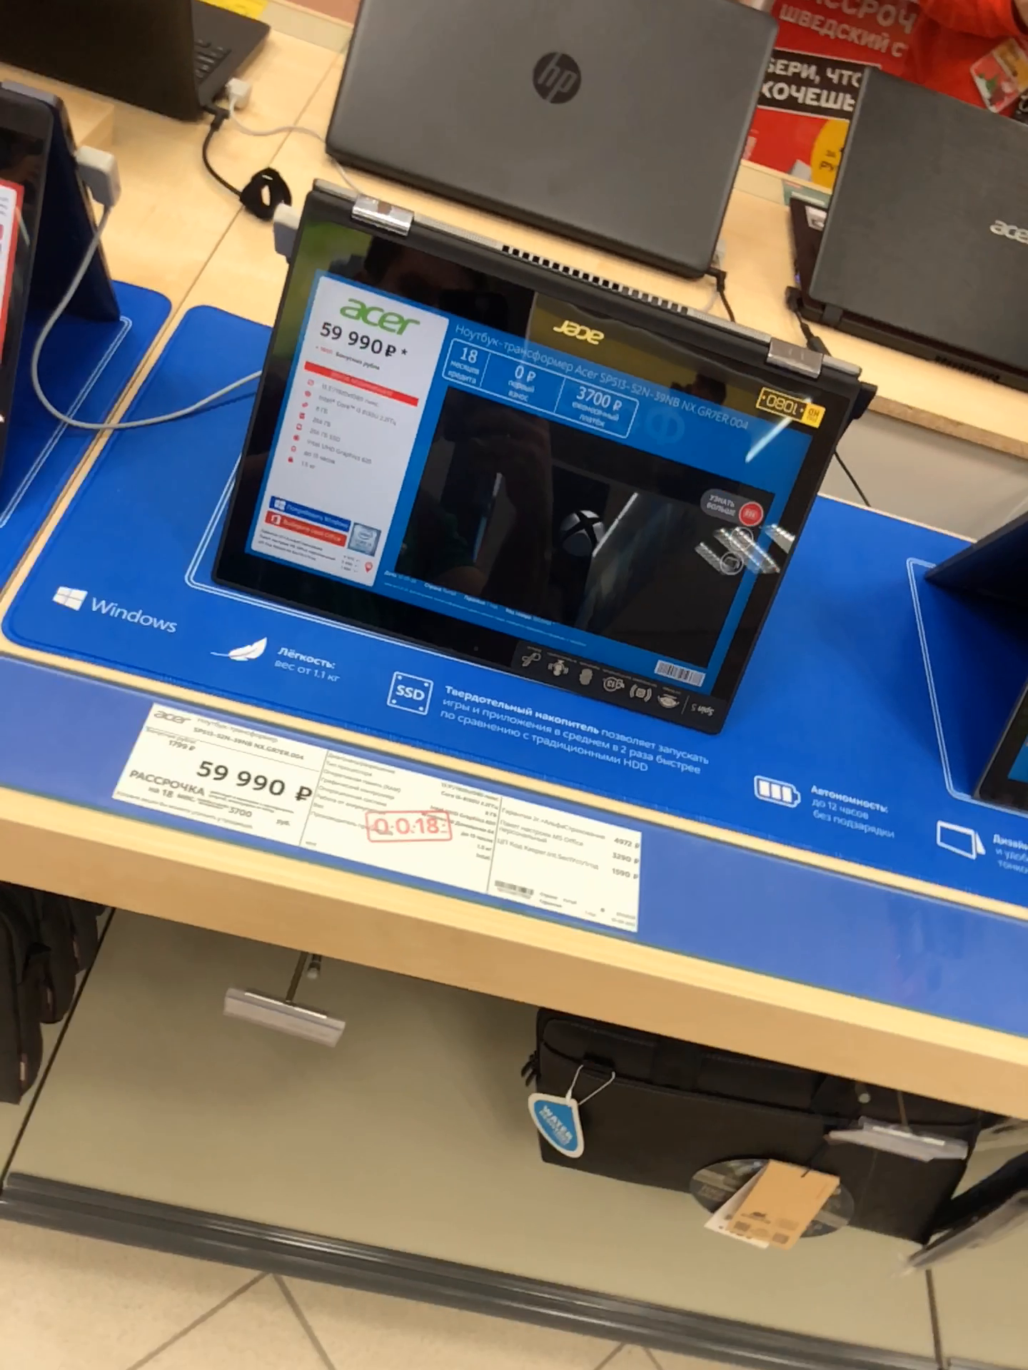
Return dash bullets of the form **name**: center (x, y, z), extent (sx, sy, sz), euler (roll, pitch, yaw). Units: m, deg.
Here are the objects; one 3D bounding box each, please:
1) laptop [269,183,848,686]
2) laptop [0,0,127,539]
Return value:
- **laptop**: center (-0.003, -0.130, 0.799), extent (0.307, 0.159, 0.201), euler (16, 10, -14)
- **laptop**: center (-0.407, -0.243, 0.710), extent (0.269, 0.179, 0.175), euler (16, 16, -10)
